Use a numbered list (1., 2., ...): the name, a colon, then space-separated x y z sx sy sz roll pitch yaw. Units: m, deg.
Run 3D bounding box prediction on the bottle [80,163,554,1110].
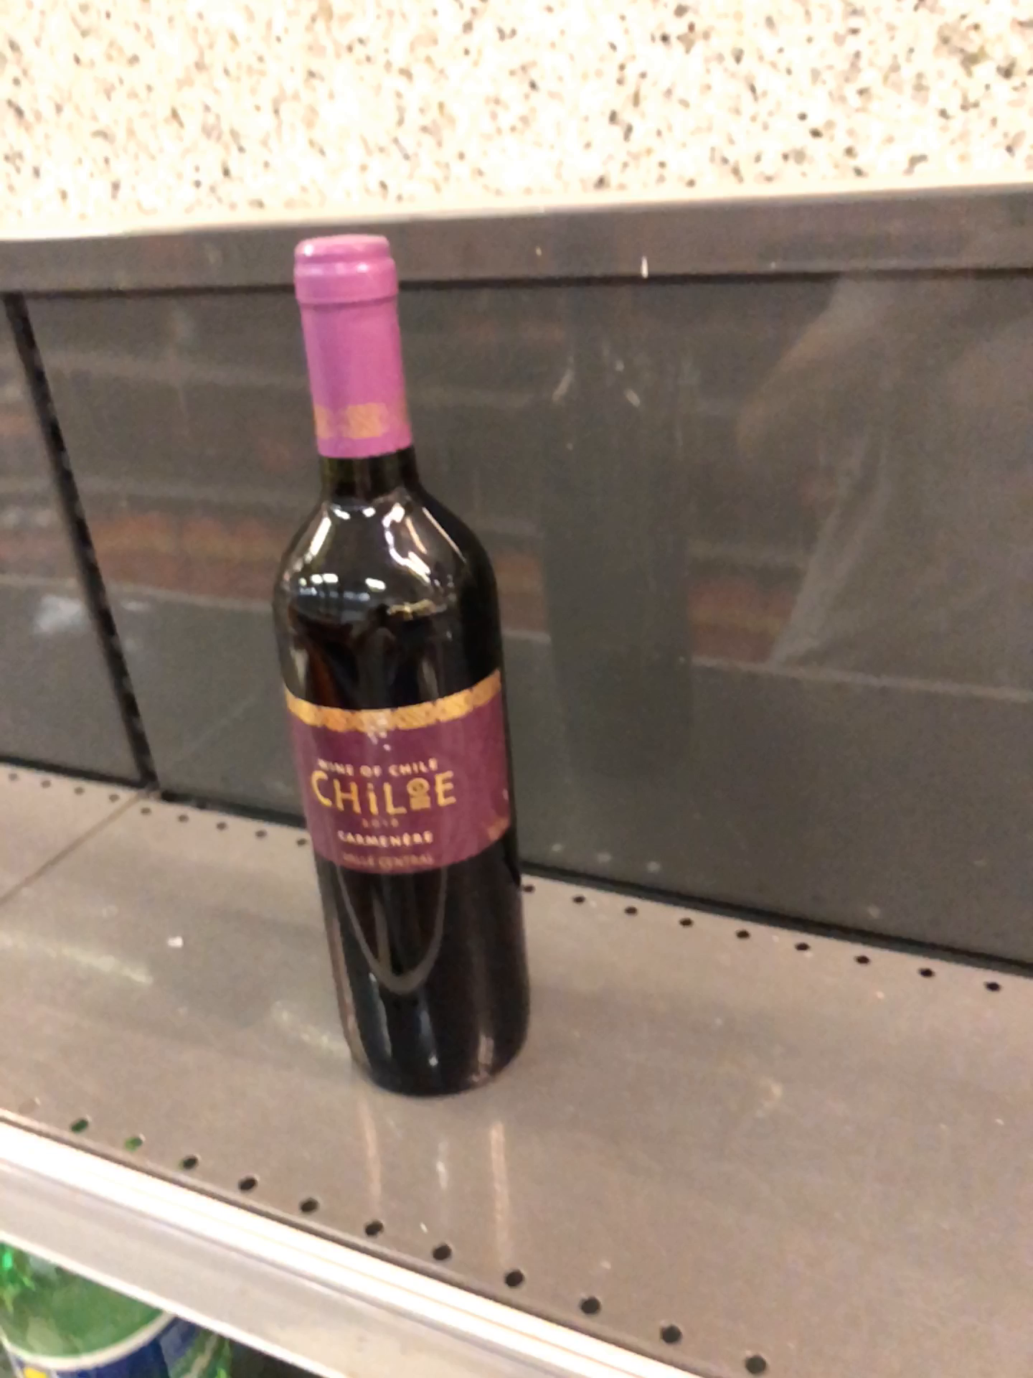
1. bottle: -0.049 -0.002 0.401 0.090 0.318 0.081 0 28 11
